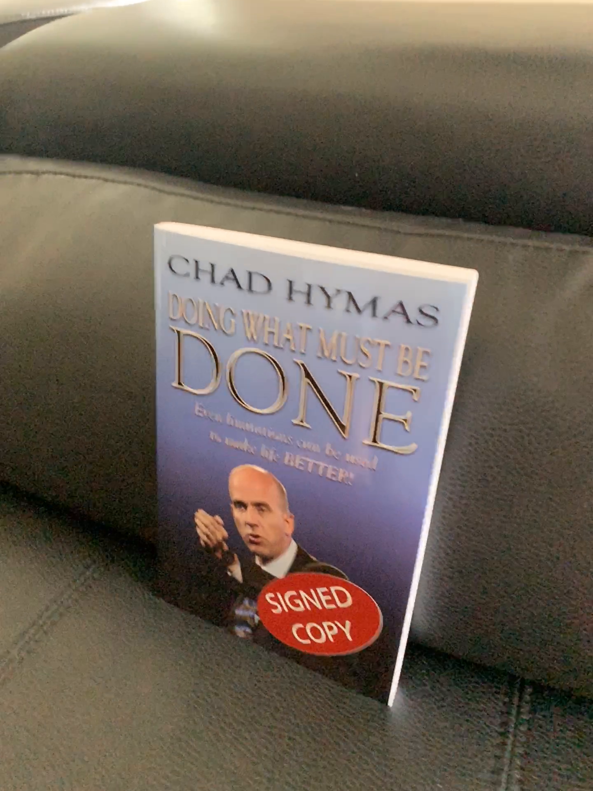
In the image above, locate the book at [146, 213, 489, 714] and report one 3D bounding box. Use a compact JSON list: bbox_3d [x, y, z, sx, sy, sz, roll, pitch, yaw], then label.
[{"bbox_3d":[-0.007,0.035,0.315,0.157,0.225,0.025,17,24,24],"label":"book"}]
